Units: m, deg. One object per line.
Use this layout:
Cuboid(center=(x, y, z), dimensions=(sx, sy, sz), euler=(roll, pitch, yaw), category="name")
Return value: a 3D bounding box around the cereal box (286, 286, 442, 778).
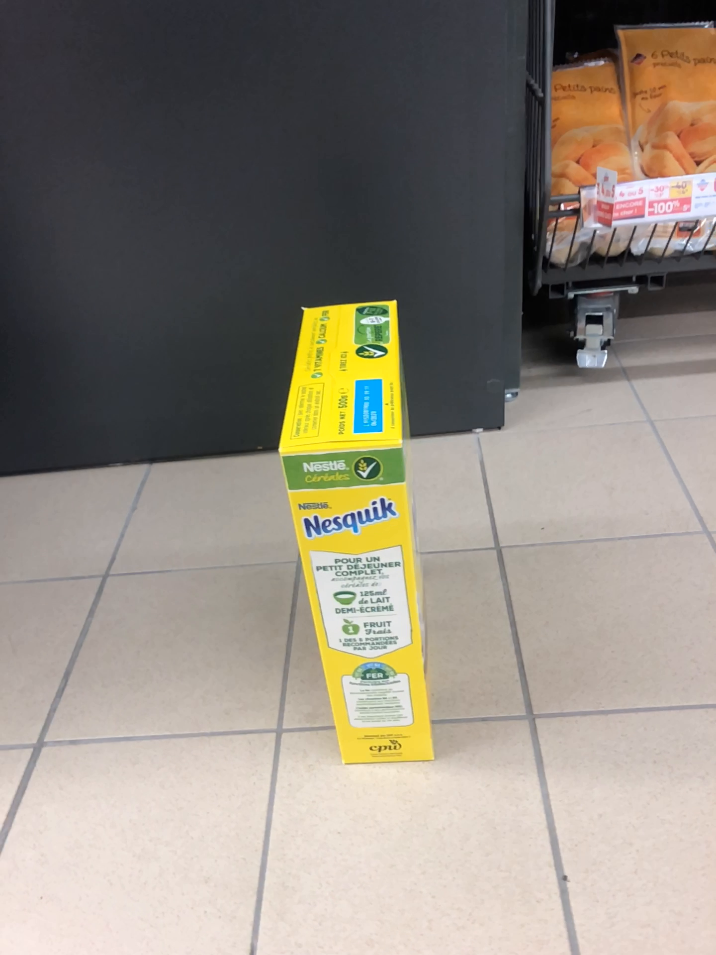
Cuboid(center=(0.014, 0.043, 0.580), dimensions=(0.070, 0.298, 0.201), euler=(-4, 36, 5), category="cereal box")
